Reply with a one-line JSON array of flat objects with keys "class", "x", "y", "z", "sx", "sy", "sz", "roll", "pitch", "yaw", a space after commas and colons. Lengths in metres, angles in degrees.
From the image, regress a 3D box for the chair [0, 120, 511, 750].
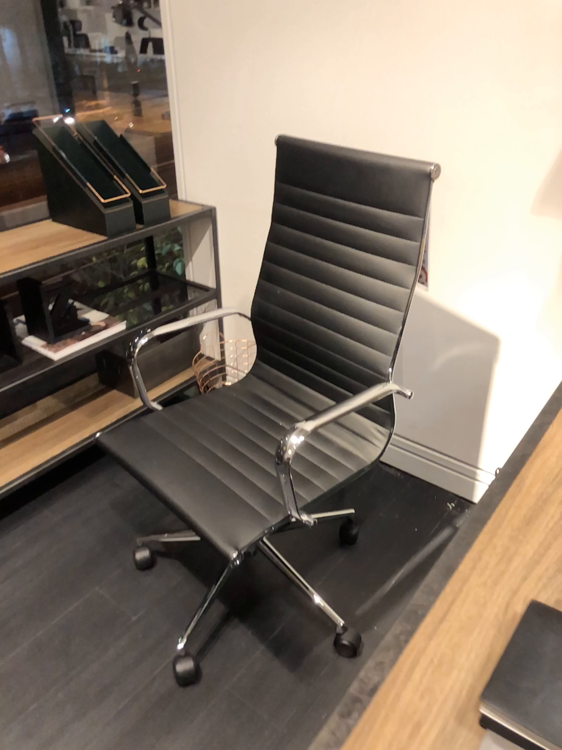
[{"class": "chair", "x": -0.065, "y": 0.073, "z": 1.364, "sx": 0.662, "sy": 1.052, "sz": 0.683, "roll": -25, "pitch": 38, "yaw": -36}]
